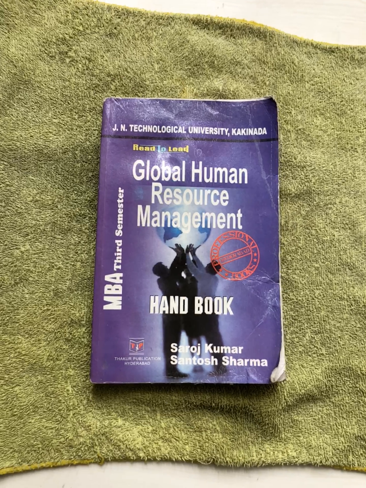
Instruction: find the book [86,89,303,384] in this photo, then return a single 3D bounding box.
[{"bbox_3d":[0.008,-0.006,0.296,0.140,0.040,0.200,1,82,-2],"label":"book"}]
